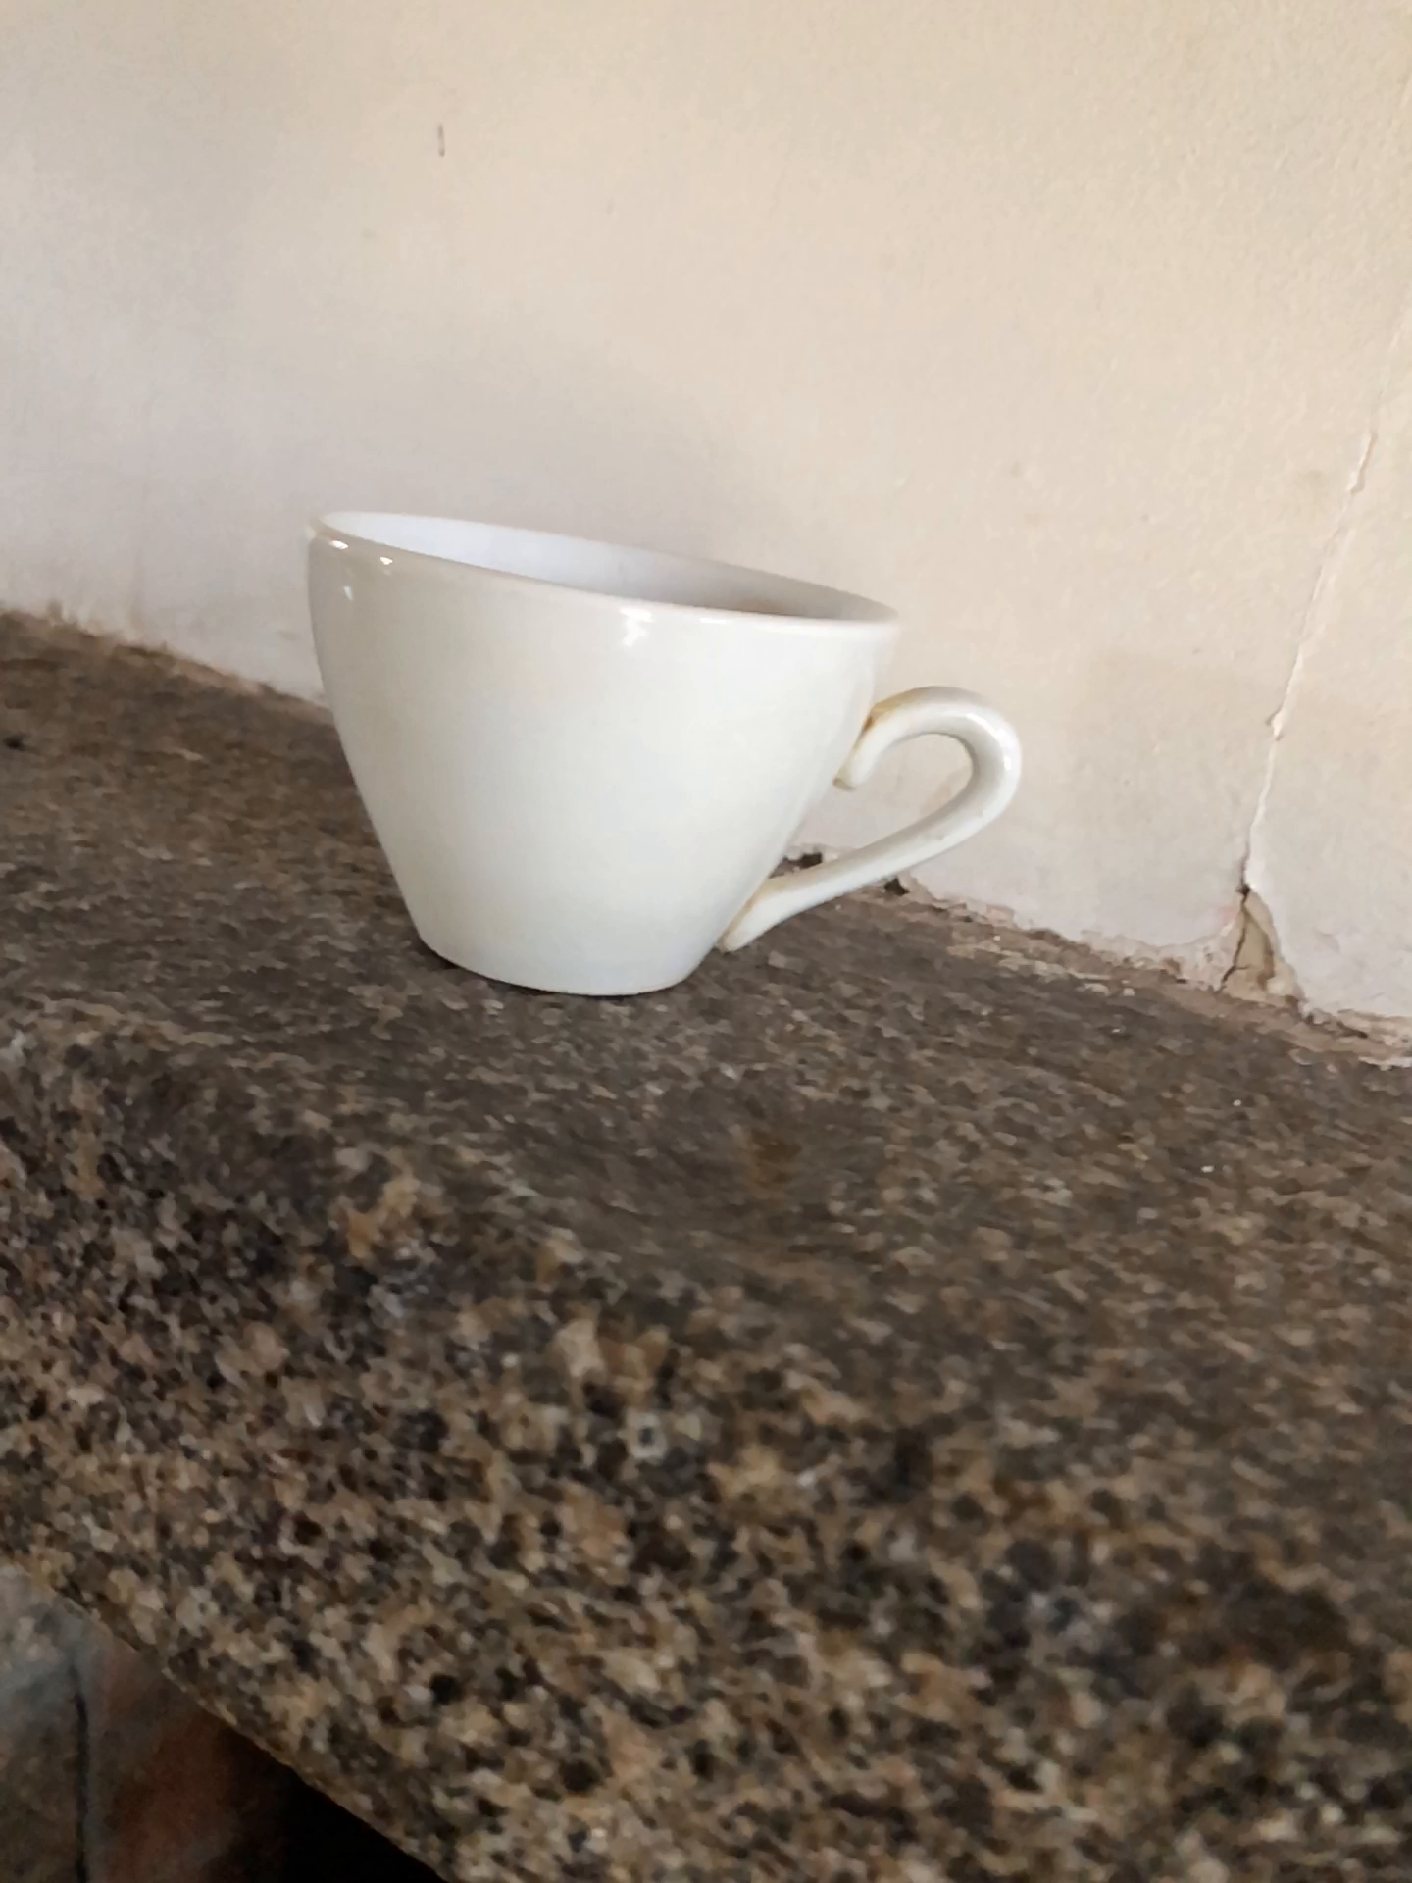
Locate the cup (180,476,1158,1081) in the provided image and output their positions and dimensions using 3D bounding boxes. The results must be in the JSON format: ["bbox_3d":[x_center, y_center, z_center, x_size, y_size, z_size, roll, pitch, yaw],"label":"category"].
[{"bbox_3d":[-0.004,-0.028,0.209,0.100,0.050,0.080,9,17,1],"label":"cup"}]
